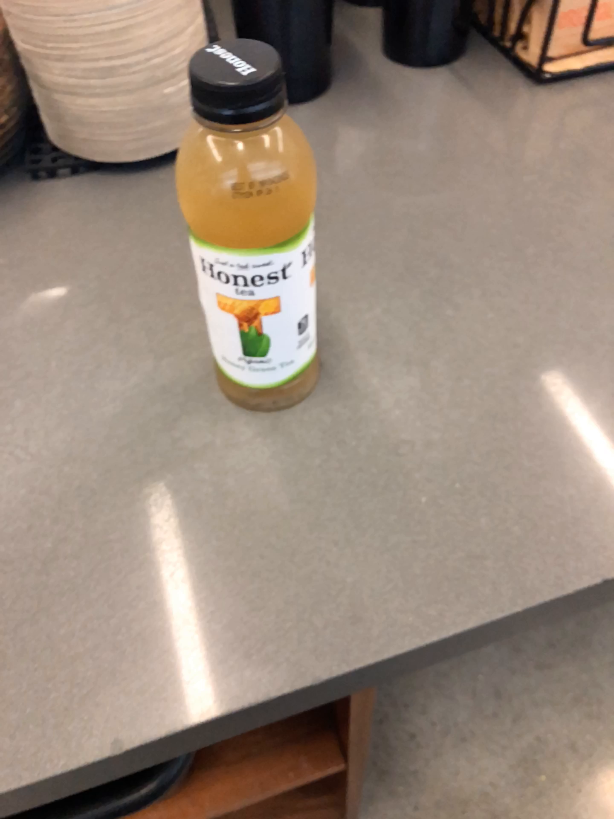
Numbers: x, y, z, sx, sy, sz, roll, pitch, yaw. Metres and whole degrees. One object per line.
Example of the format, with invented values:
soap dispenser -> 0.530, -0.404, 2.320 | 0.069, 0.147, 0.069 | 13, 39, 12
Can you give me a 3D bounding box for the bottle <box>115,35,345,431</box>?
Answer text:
bottle -> -0.026, -0.081, 0.371 | 0.090, 0.189, 0.090 | -1, 52, 1
